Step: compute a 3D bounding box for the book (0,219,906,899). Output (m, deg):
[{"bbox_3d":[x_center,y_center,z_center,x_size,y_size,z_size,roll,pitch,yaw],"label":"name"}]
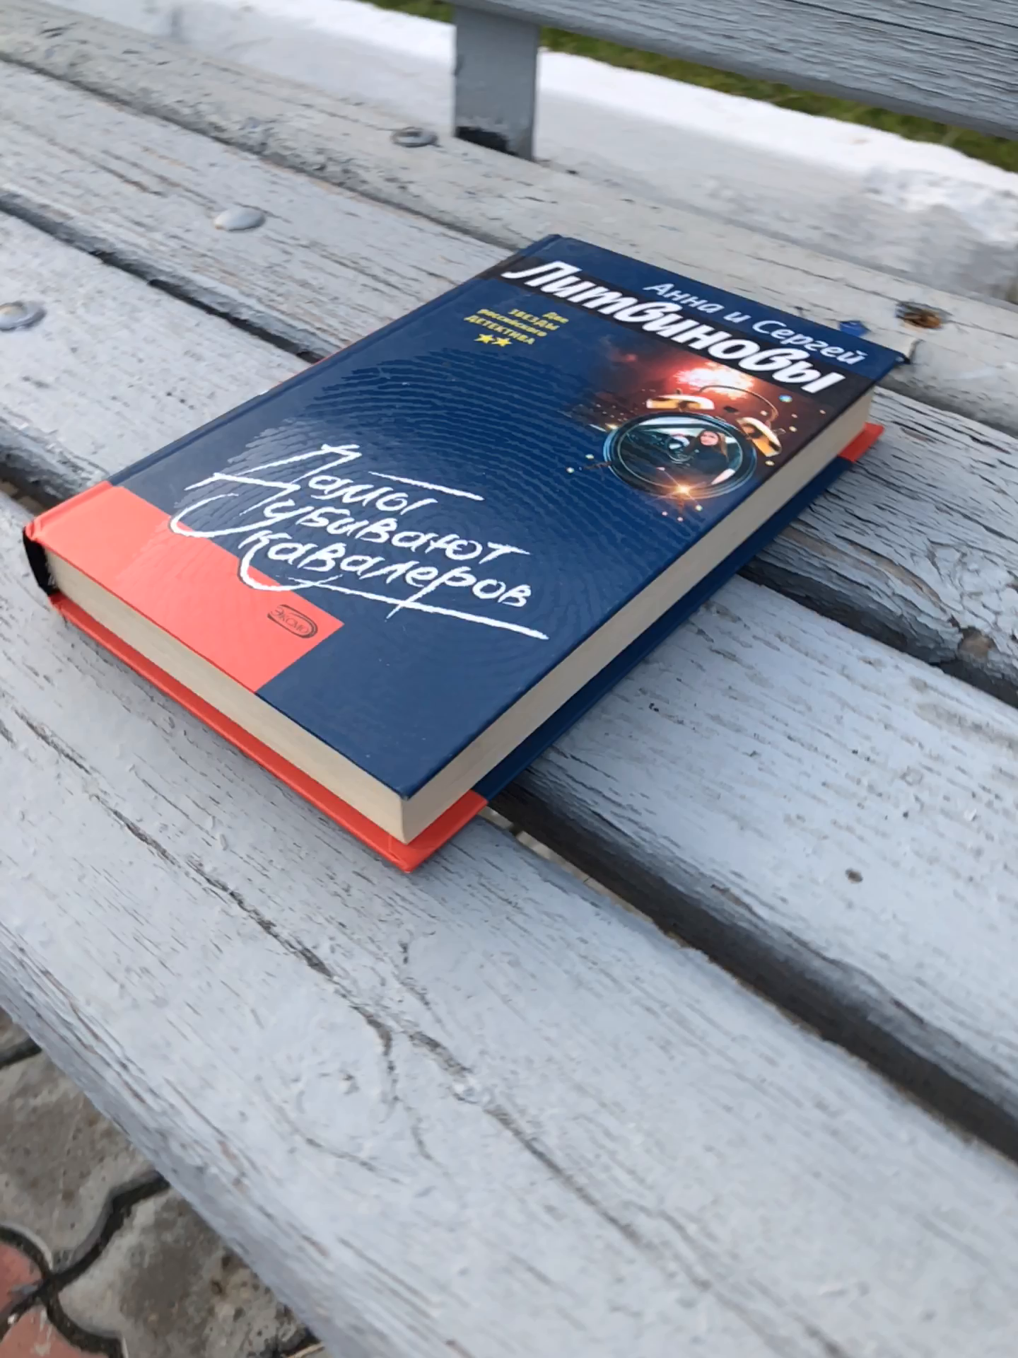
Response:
[{"bbox_3d":[-0.006,-0.054,0.299,0.130,0.030,0.208,30,53,27],"label":"book"}]
